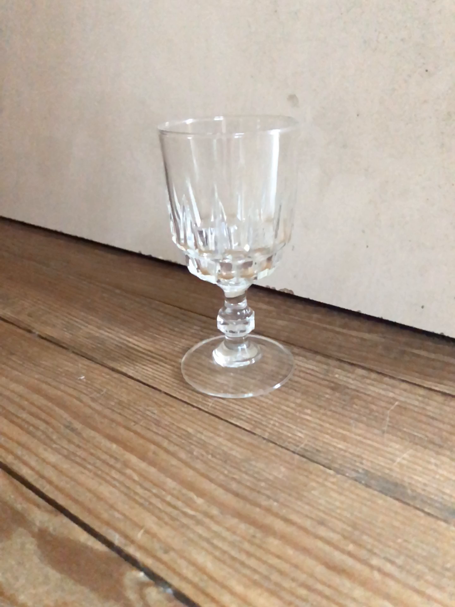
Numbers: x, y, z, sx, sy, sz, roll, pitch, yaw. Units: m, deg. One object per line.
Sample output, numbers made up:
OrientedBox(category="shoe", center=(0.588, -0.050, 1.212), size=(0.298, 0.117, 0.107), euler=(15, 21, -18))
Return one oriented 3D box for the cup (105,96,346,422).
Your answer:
OrientedBox(category="cup", center=(0.003, -0.026, 0.229), size=(0.070, 0.119, 0.070), euler=(-1, 26, 1))
